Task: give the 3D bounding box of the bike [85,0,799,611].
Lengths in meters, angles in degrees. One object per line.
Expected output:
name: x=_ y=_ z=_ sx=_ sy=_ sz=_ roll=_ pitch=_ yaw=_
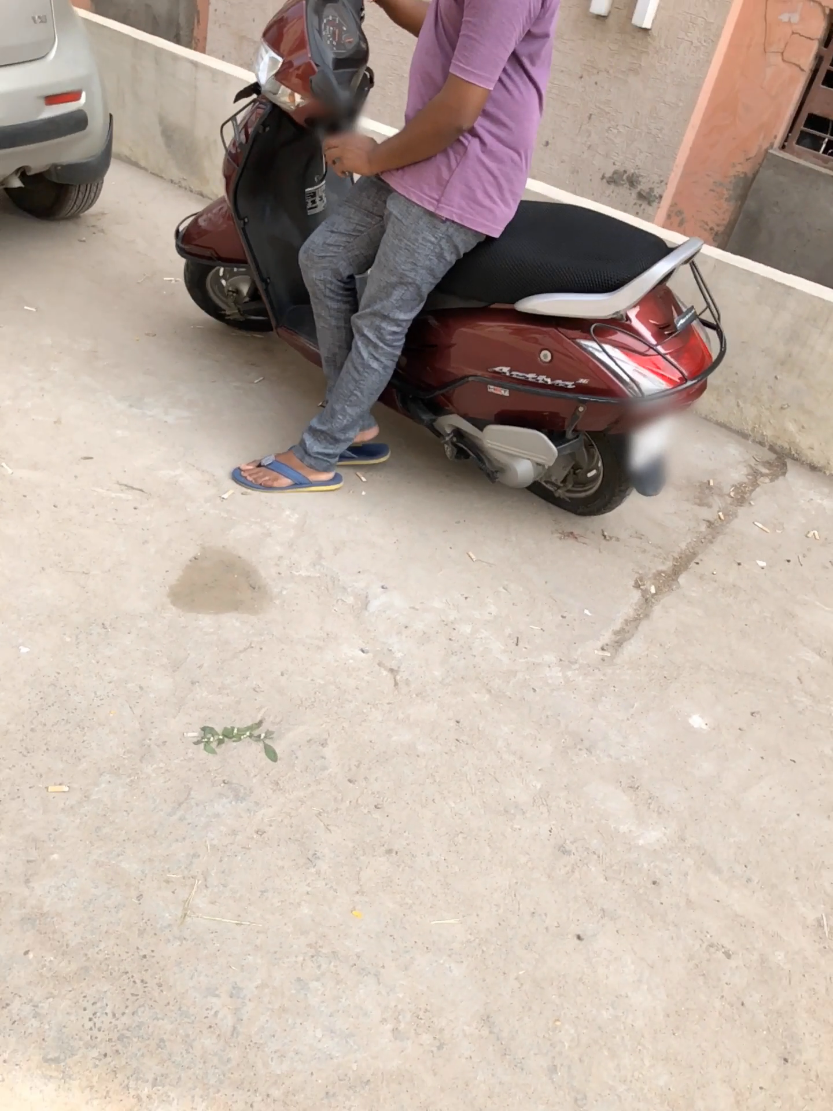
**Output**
bike: x=-0.079 y=-0.779 z=2.368 sx=1.577 sy=1.072 sz=0.633 roll=29 pitch=37 yaw=22
